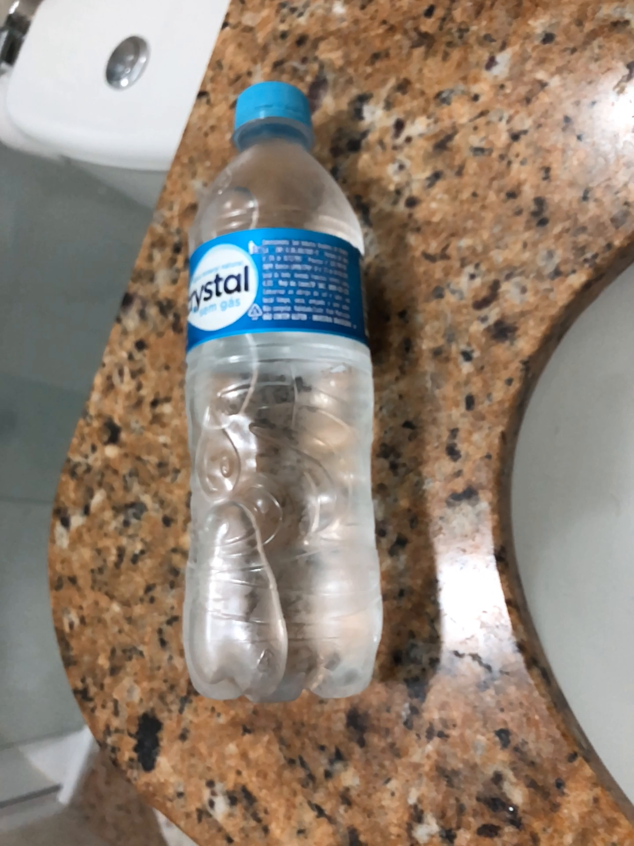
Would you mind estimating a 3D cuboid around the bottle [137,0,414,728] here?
[{"bbox_3d":[-0.016,-0.023,0.249,0.070,0.050,0.230,-10,74,28],"label":"bottle"}]
